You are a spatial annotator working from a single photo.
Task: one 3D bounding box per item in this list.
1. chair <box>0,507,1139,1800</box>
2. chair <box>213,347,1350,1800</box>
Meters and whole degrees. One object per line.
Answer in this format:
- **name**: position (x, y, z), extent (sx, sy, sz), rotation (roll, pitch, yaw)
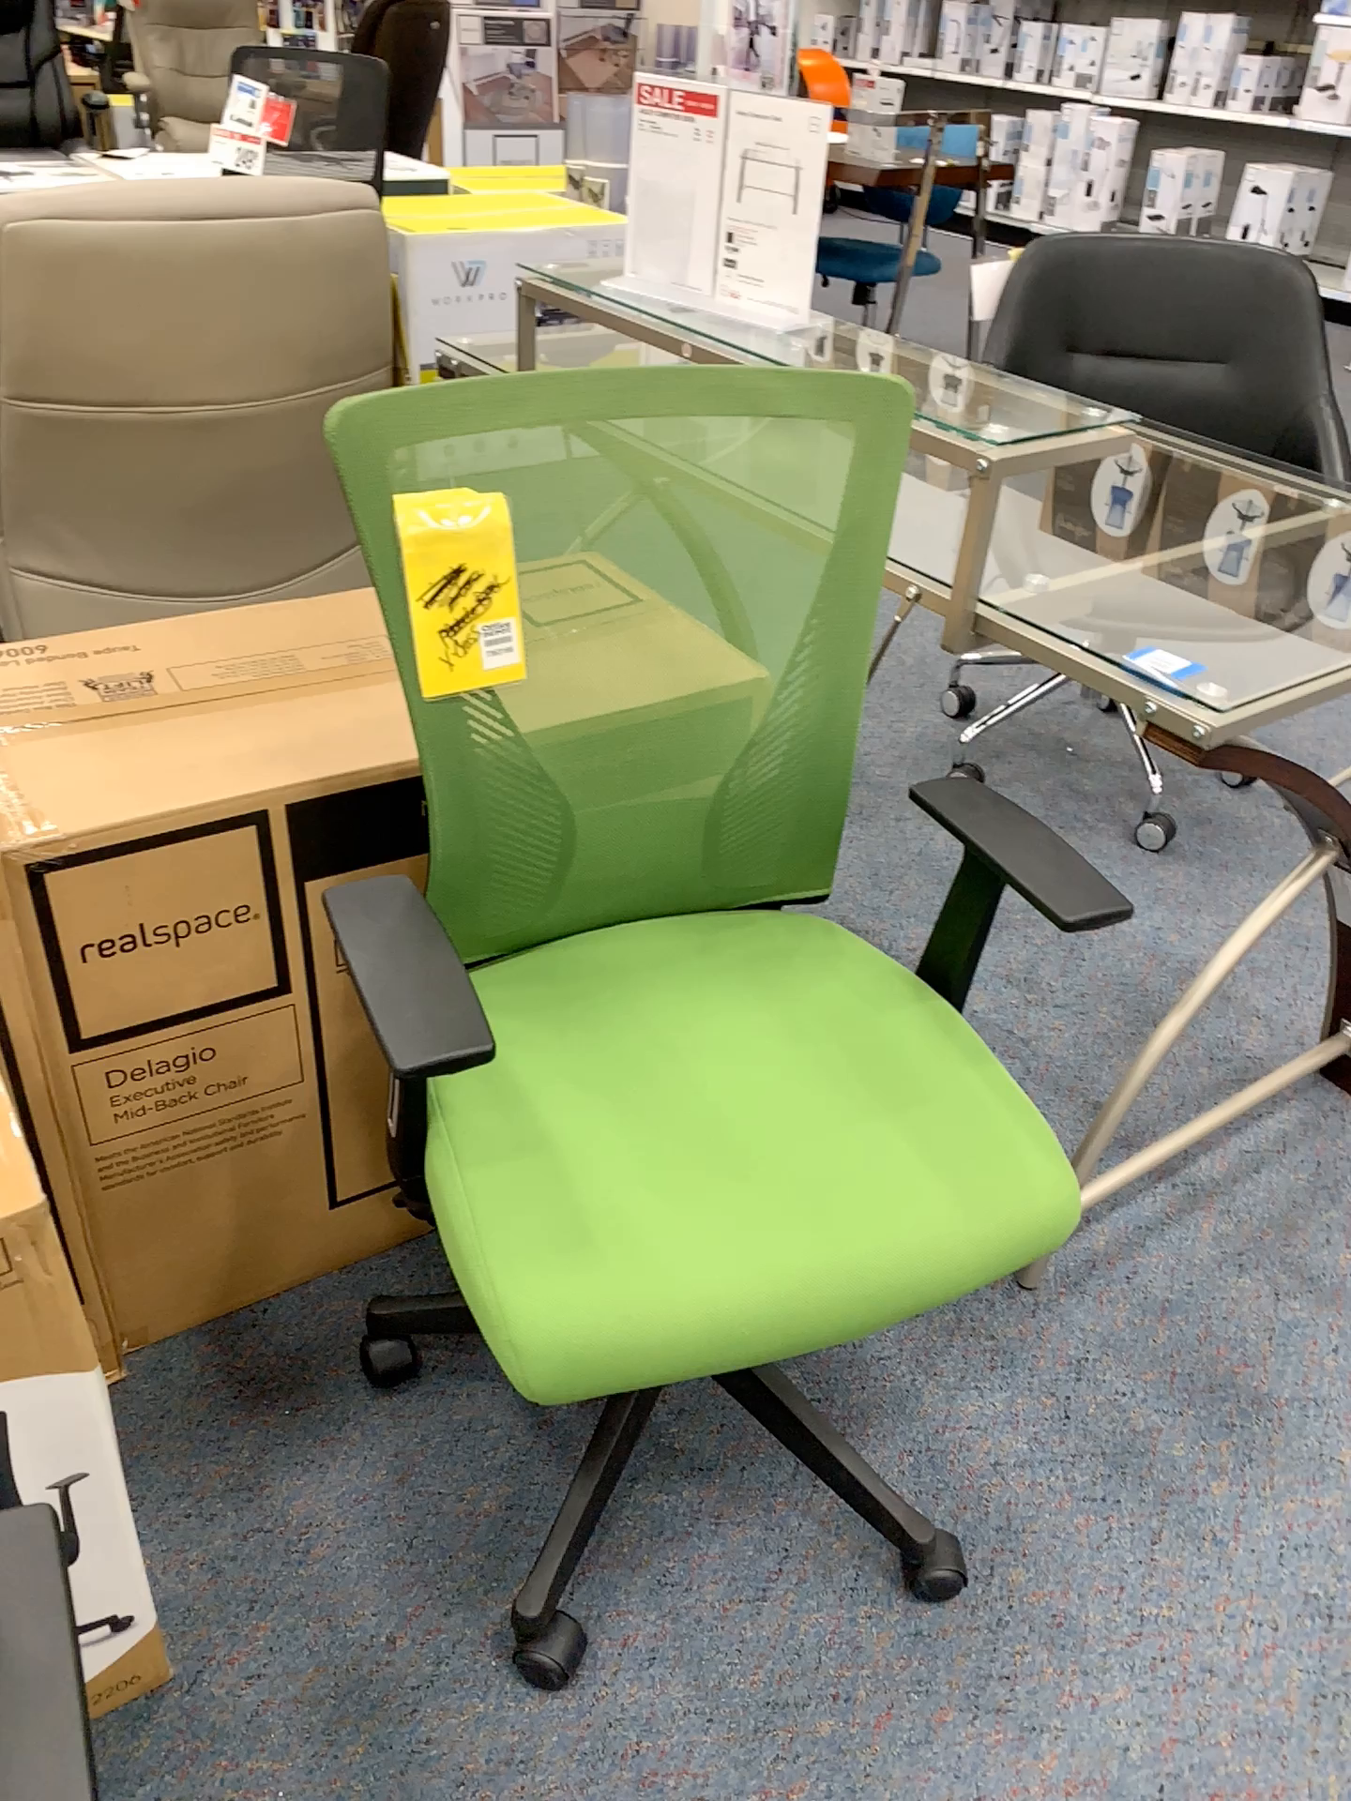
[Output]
- **chair**: position (-0.423, 0.469, 0.486), extent (0.644, 0.972, 0.660), rotation (-10, 36, -20)
- **chair**: position (0.044, 0.100, 1.141), extent (0.644, 0.912, 0.600), rotation (-10, 36, -20)
